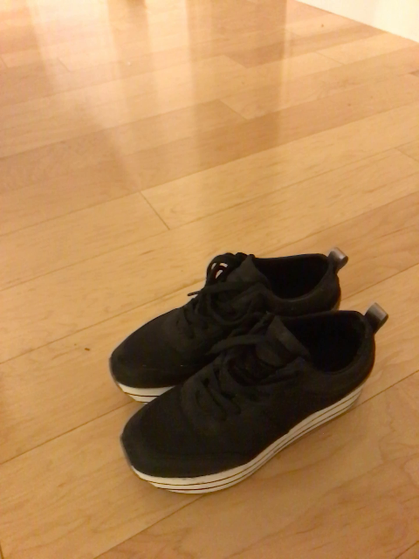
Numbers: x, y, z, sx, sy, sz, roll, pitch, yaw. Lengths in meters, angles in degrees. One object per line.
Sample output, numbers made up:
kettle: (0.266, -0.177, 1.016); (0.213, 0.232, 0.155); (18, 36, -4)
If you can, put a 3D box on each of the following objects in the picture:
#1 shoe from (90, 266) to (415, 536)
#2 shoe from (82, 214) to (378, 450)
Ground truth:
shoe: (0.046, 0.109, 0.469); (0.291, 0.099, 0.121); (-23, 47, -20)
shoe: (0.027, 0.047, 0.518); (0.291, 0.109, 0.121); (-23, 47, -20)
